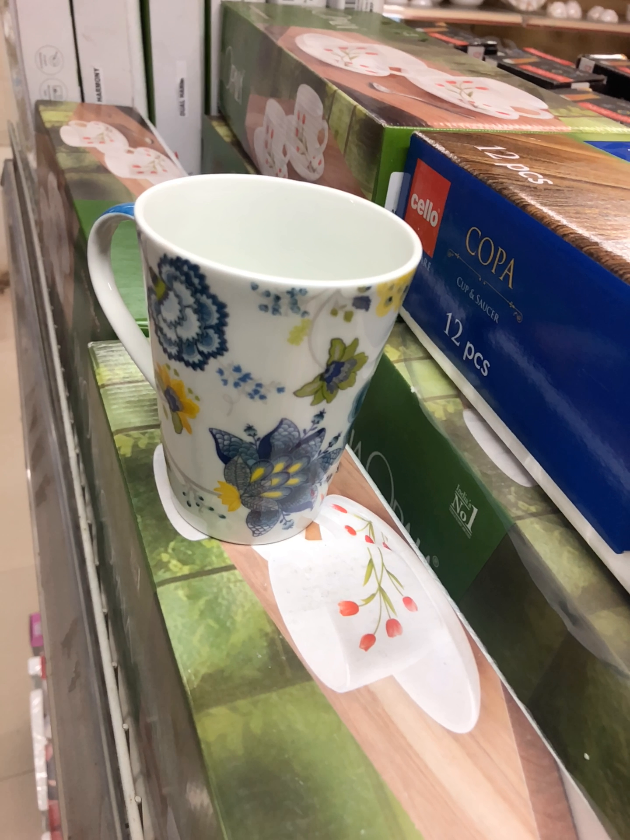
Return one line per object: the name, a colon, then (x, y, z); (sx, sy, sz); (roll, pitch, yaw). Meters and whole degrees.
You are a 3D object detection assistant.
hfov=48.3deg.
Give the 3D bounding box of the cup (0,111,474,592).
cup: (-0.029, -0.028, 0.200); (0.110, 0.079, 0.070); (33, 43, 30)
